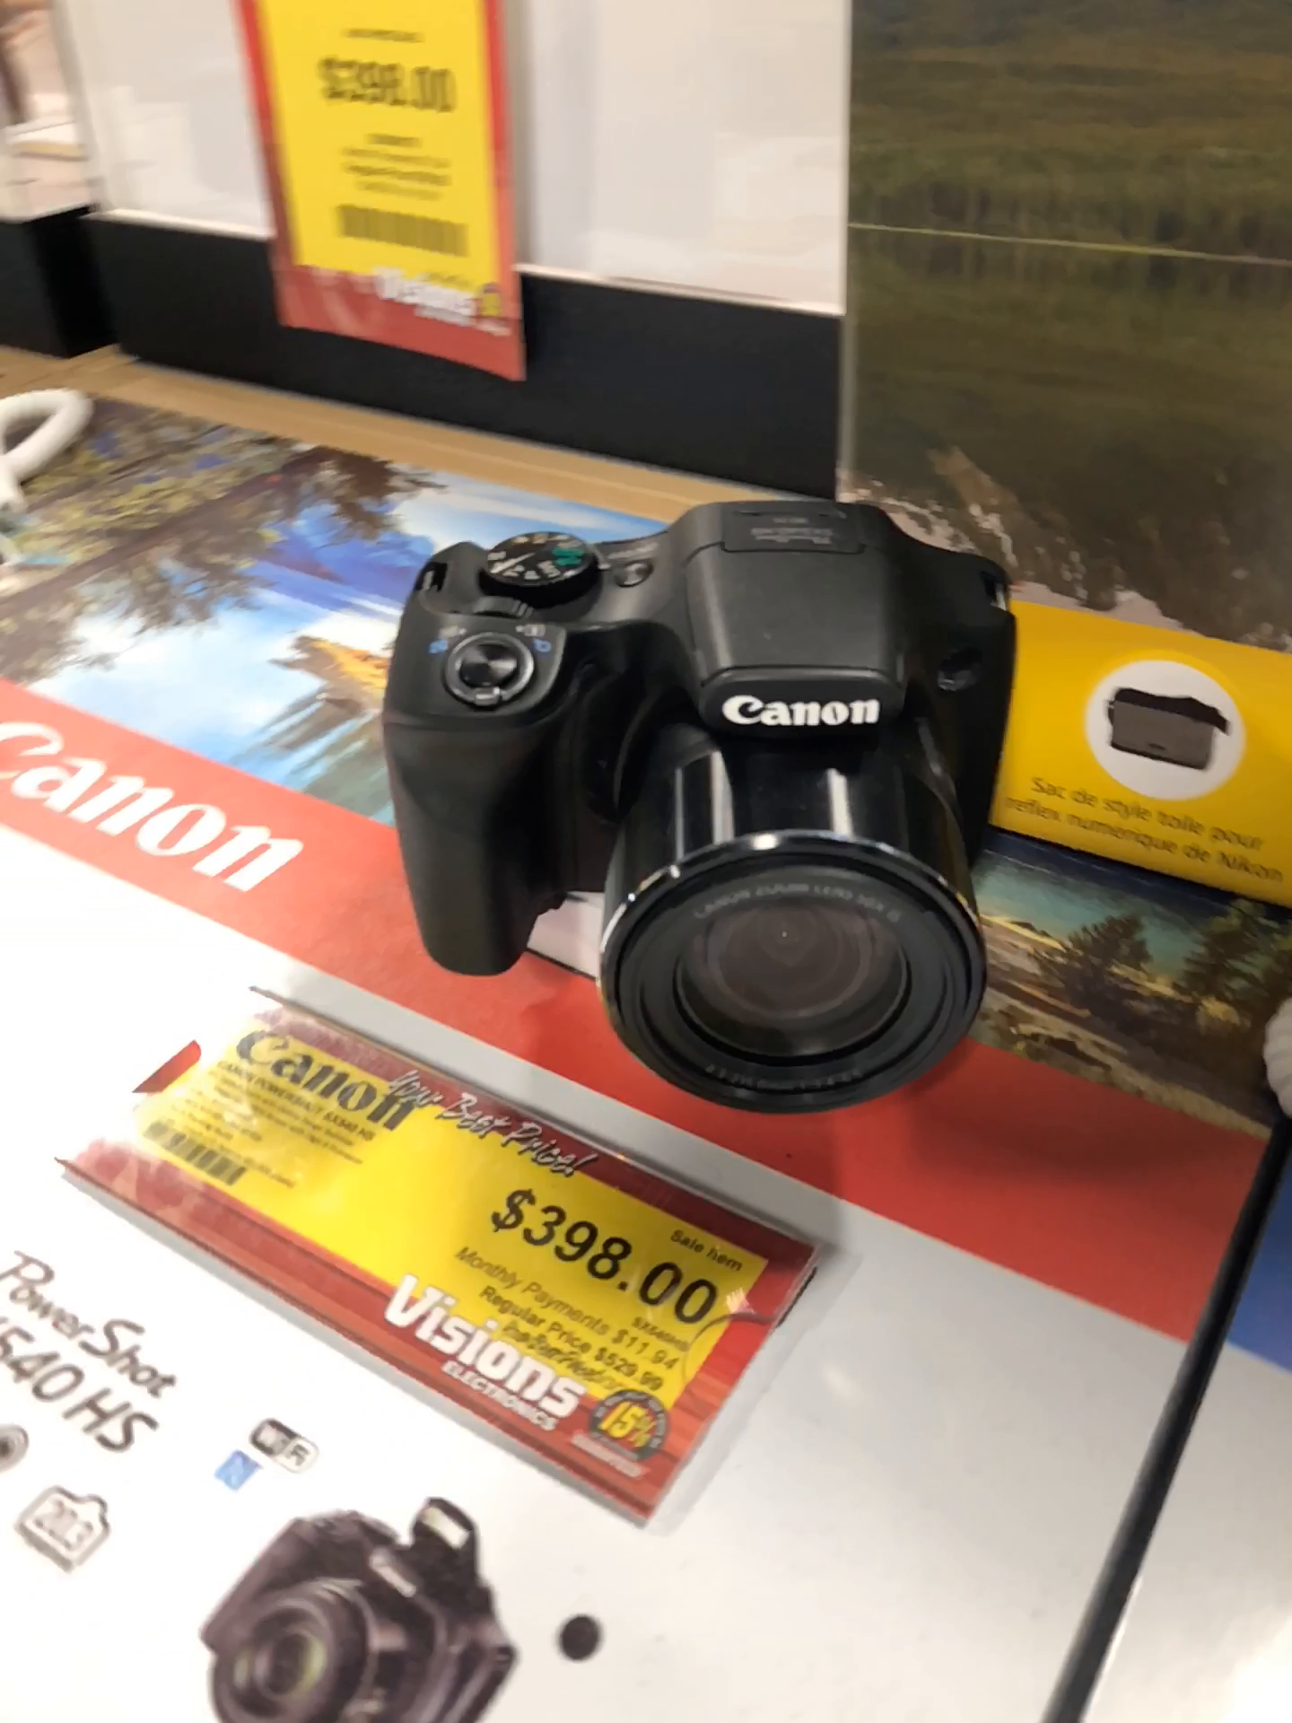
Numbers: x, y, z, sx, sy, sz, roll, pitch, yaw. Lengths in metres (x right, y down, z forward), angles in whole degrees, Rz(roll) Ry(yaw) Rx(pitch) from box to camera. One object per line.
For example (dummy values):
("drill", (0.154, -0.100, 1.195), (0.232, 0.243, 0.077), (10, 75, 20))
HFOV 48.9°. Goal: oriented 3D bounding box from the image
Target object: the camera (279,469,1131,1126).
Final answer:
("camera", (0.013, -0.016, 0.259), (0.120, 0.079, 0.091), (1, 36, 7))
